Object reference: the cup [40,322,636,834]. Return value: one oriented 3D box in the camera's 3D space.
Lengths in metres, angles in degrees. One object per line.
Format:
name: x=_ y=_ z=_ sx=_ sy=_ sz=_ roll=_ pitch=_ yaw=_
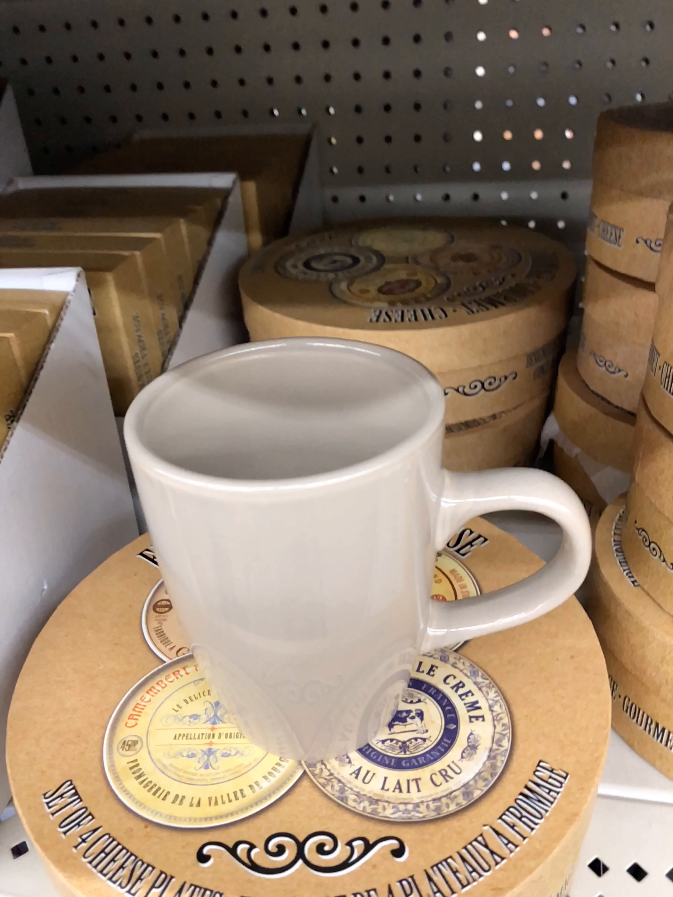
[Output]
cup: x=0.008 y=0.029 z=0.222 sx=0.130 sy=0.100 sz=0.090 roll=4 pitch=32 yaw=14
